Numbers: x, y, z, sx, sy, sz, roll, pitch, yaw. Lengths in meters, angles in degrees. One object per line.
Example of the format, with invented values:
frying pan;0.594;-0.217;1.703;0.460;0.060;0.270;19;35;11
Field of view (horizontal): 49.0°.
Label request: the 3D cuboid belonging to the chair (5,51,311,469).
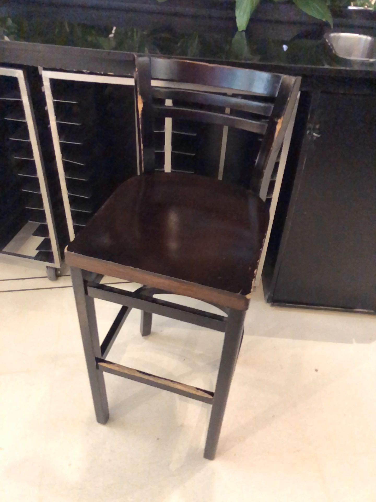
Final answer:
chair;-0.026;0.058;1.057;0.440;0.913;0.453;13;40;12
